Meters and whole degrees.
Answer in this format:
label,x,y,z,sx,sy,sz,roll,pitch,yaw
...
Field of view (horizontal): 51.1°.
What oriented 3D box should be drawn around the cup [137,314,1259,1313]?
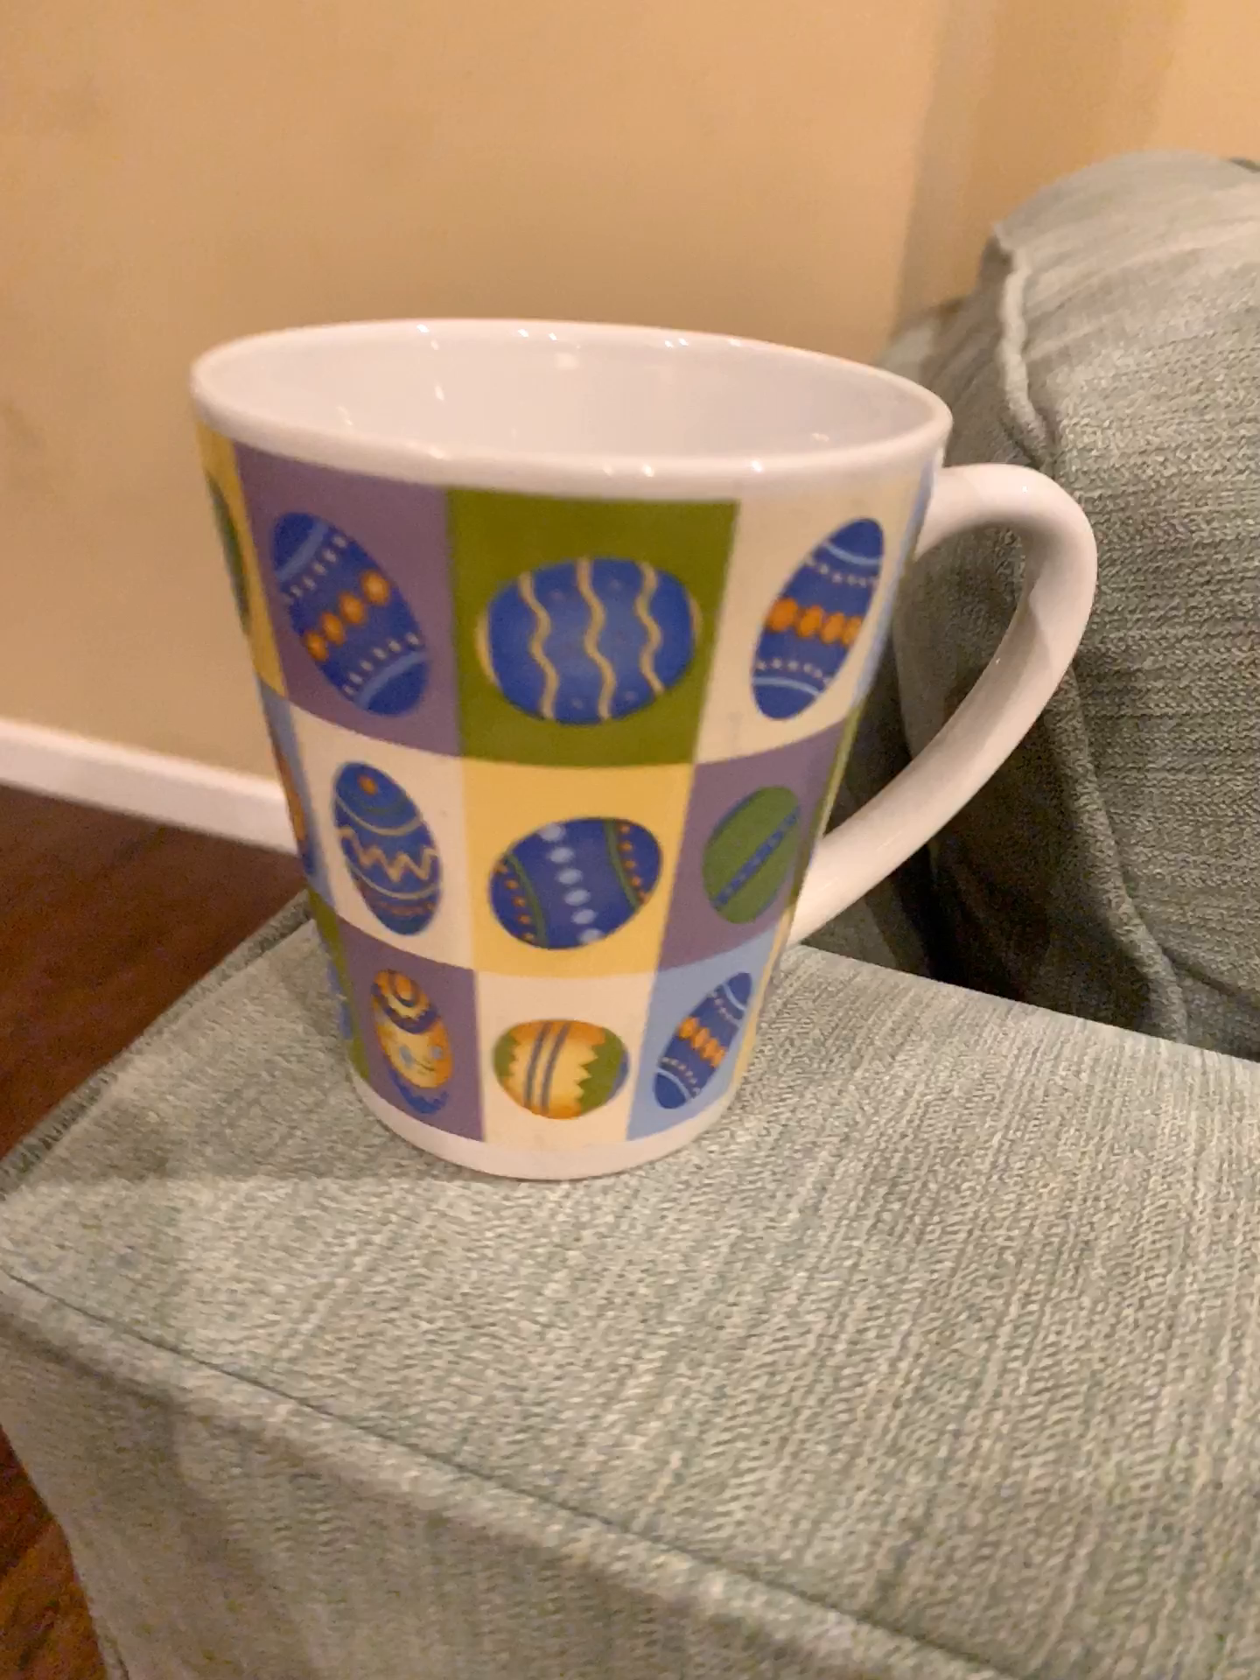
label,x,y,z,sx,sy,sz,roll,pitch,yaw
cup,0.009,-0.020,0.183,0.123,0.087,0.096,-11,31,-26
